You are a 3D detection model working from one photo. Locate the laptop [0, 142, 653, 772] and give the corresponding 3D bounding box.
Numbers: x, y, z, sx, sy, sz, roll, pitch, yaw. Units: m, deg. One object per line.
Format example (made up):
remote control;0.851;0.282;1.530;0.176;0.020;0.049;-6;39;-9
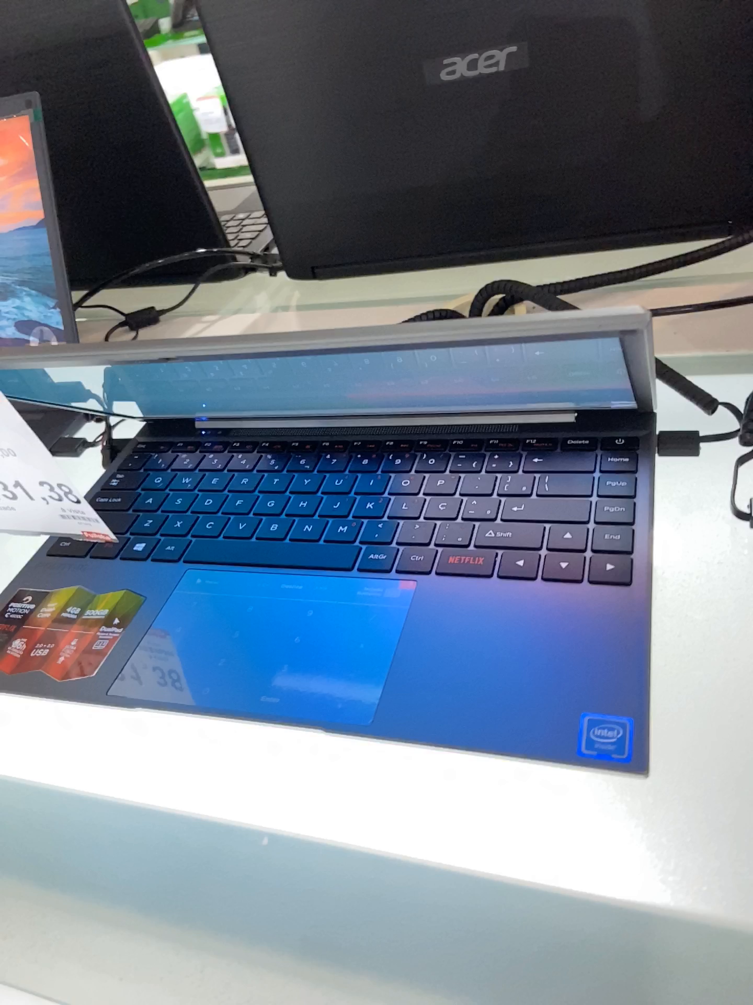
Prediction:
laptop;-0.050;-0.033;0.353;0.327;0.139;0.211;1;41;20
